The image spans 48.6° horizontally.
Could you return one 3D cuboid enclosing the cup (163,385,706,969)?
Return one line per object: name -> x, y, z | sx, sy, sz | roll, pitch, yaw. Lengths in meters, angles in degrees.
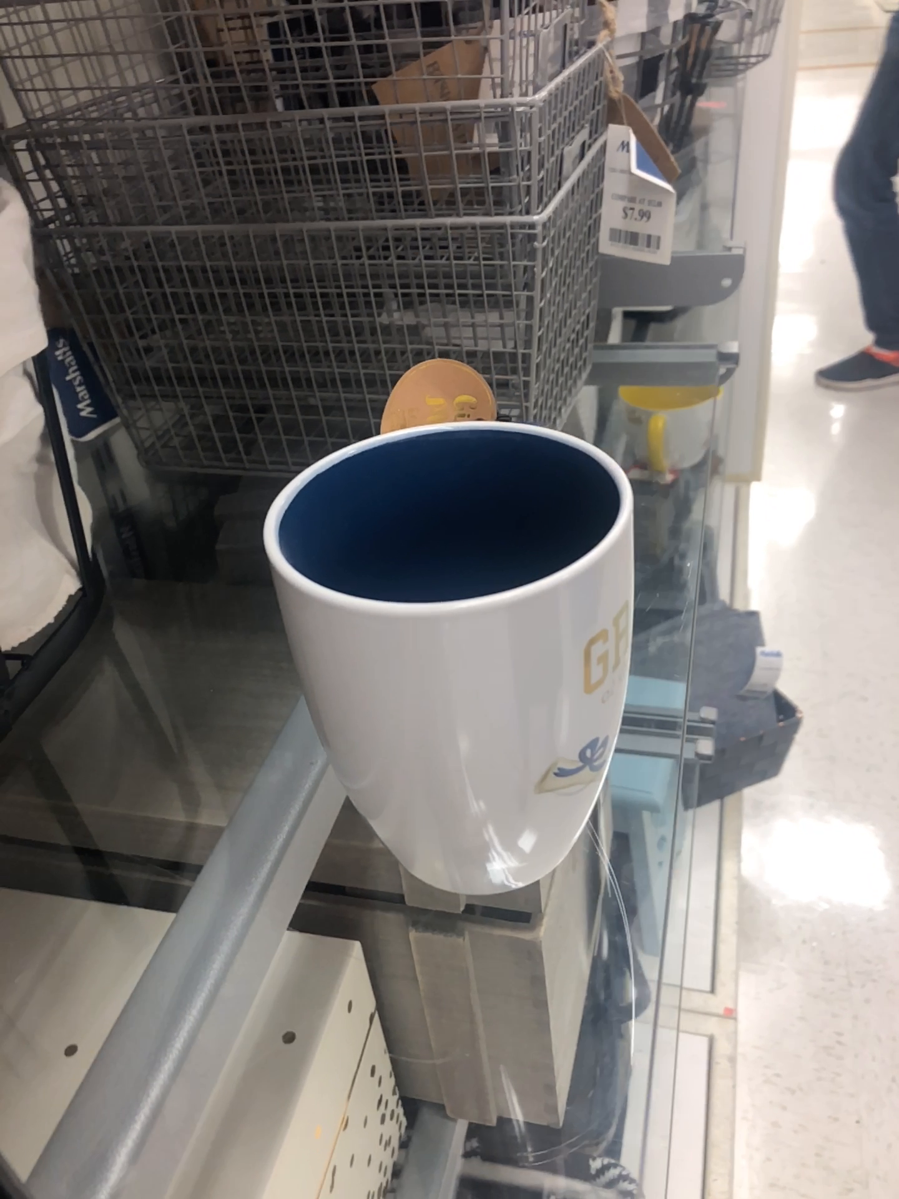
cup -> 0.012, 0.010, 0.308 | 0.116, 0.096, 0.150 | 5, 36, 17
